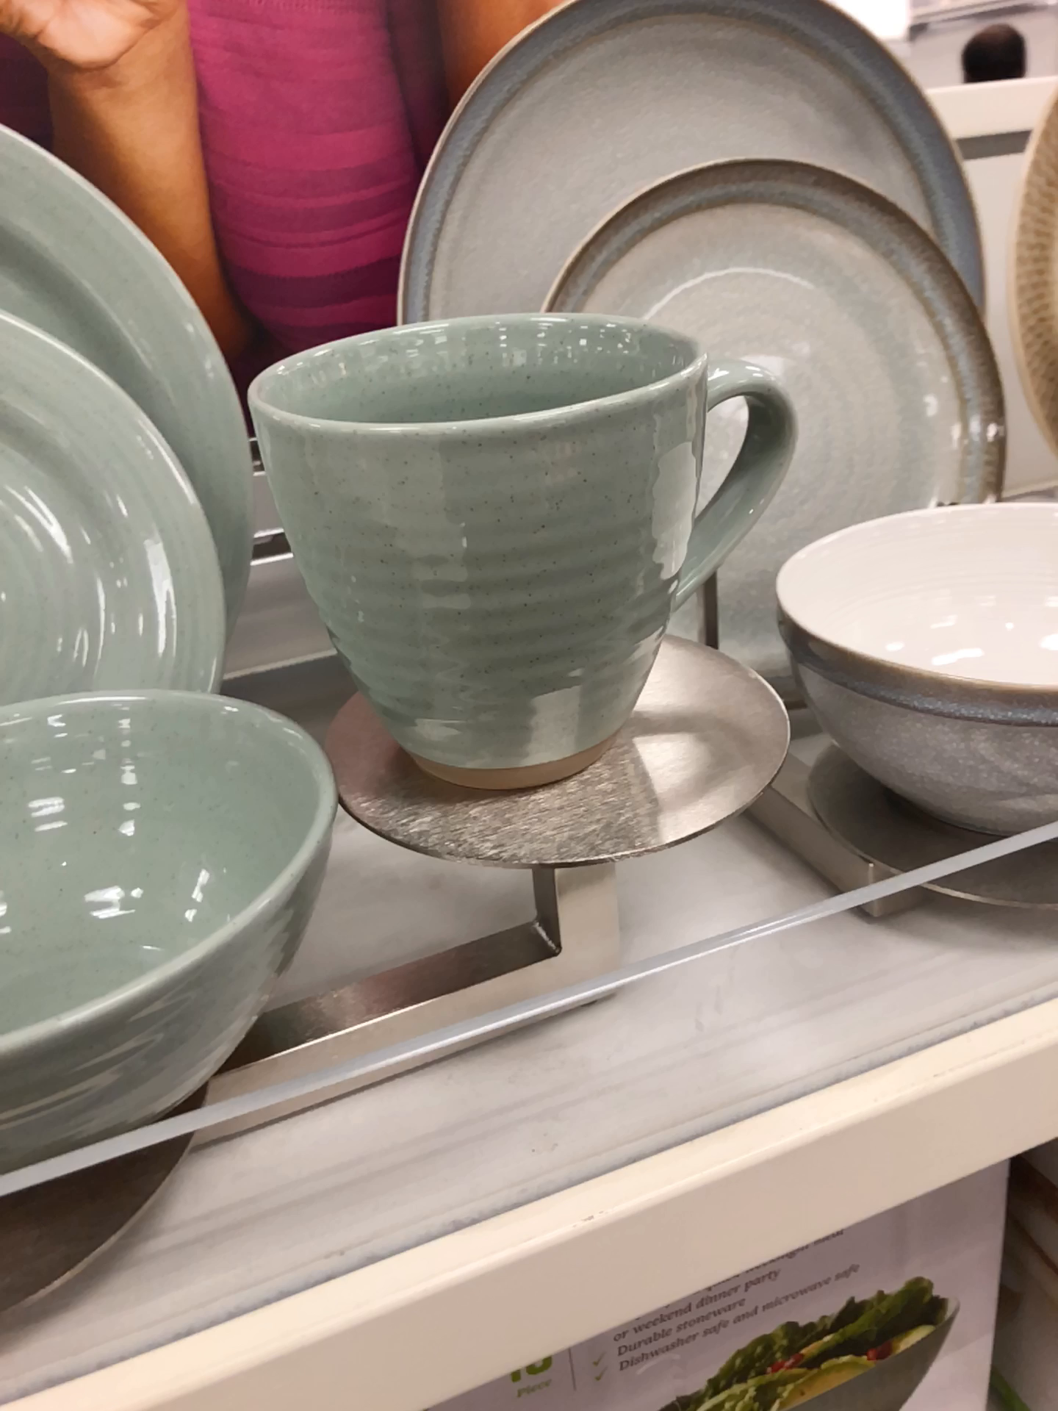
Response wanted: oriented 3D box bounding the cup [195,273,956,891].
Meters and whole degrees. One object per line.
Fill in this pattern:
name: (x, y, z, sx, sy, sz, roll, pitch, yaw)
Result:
cup: (0.009, -0.044, 0.286, 0.129, 0.091, 0.116, -19, 31, -26)
